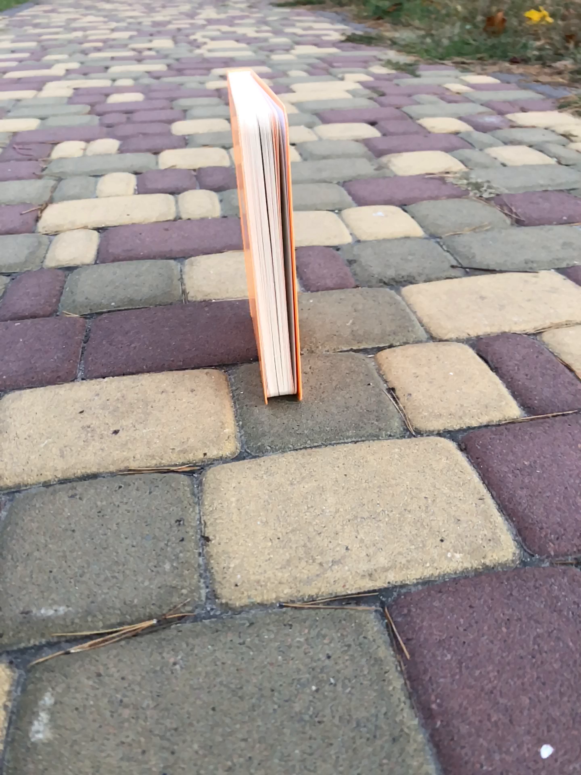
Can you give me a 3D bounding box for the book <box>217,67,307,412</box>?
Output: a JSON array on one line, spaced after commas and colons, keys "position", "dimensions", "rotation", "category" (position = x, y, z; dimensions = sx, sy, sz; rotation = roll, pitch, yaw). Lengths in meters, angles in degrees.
[{"position": [-0.022, -0.113, 0.473], "dimensions": [0.040, 0.200, 0.165], "rotation": [-6, 34, -4], "category": "book"}]
